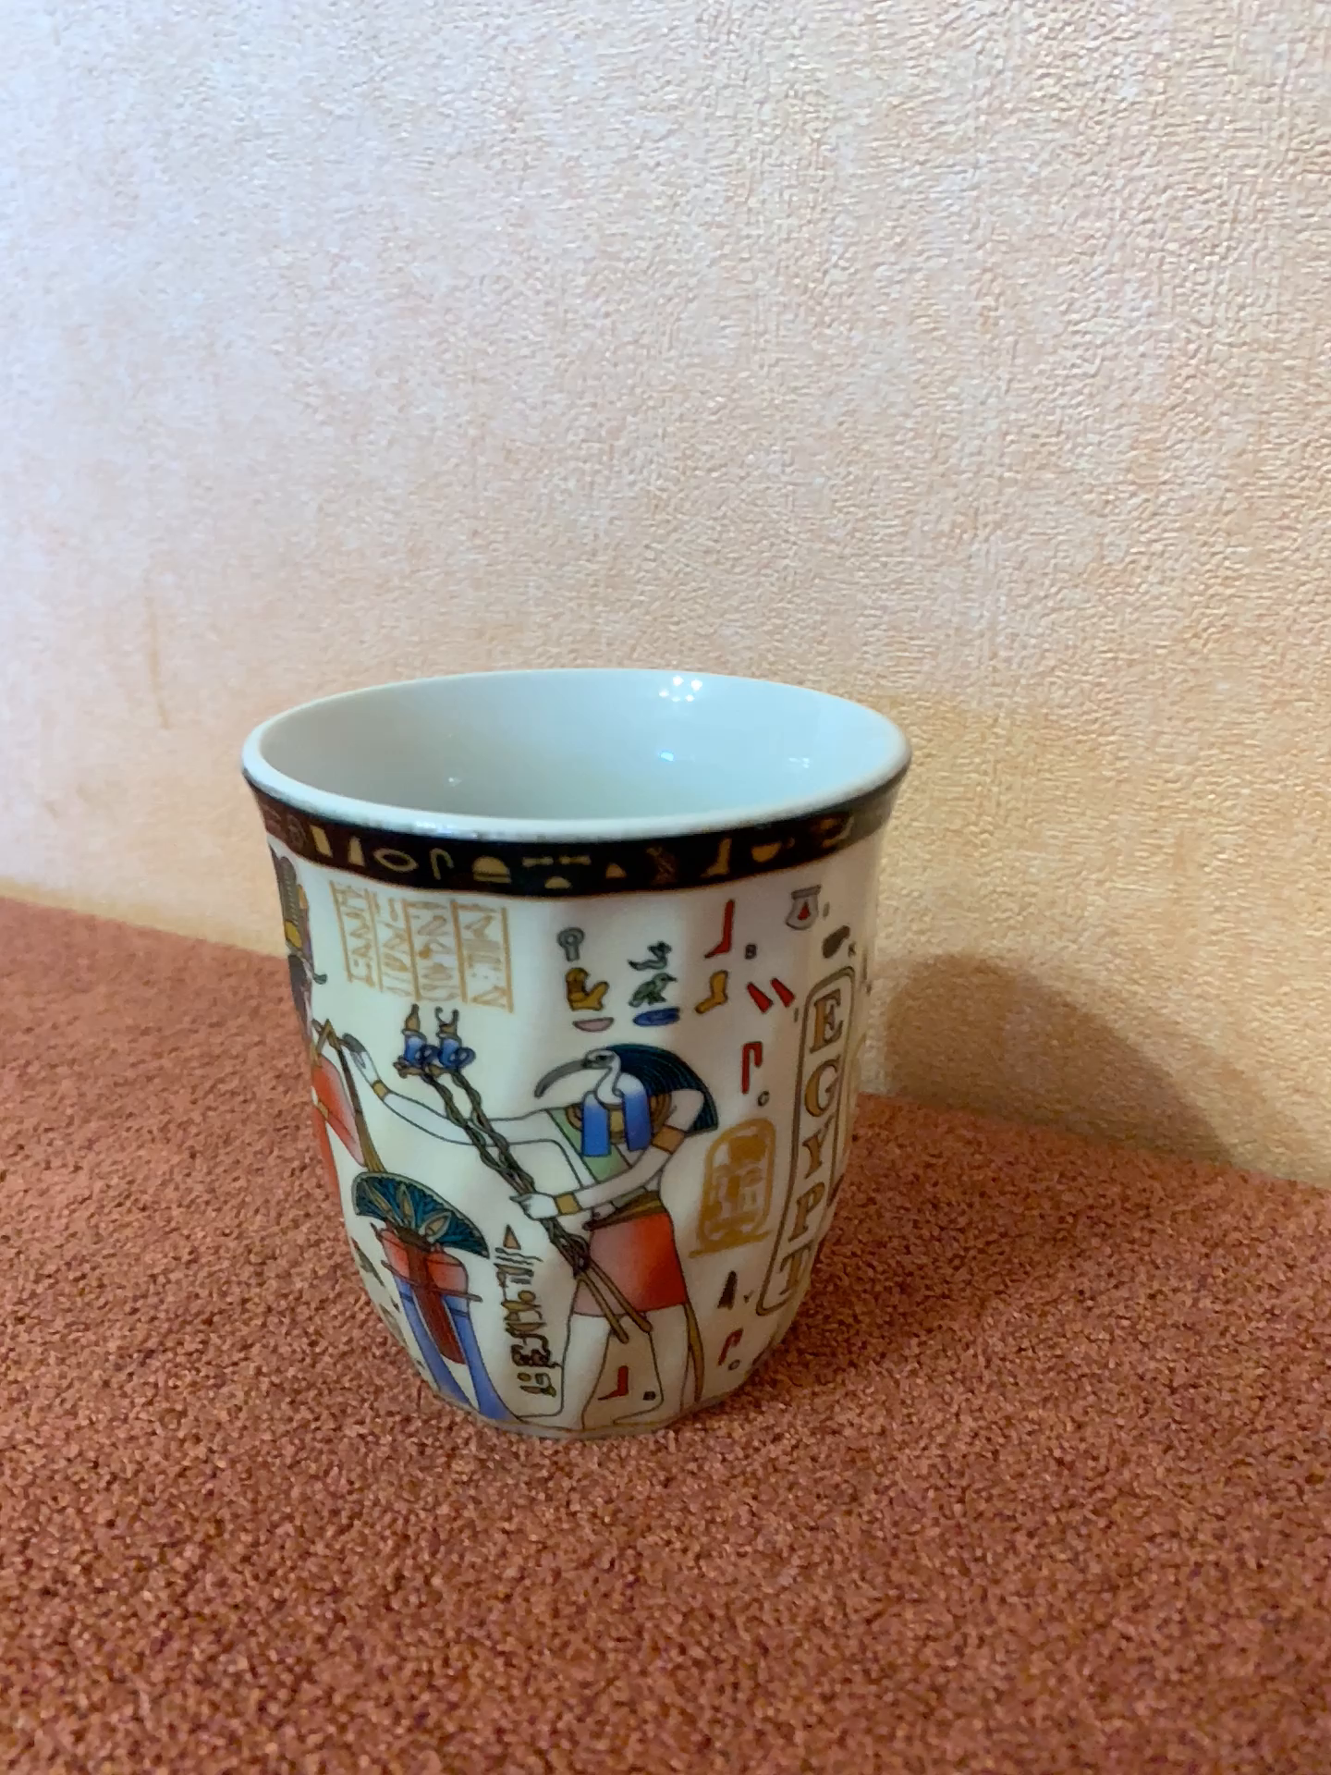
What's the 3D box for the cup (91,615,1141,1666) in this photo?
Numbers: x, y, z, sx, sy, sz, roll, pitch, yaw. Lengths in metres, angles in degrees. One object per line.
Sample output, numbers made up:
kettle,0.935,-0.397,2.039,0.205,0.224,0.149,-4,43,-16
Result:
cup,-0.011,0.017,0.201,0.086,0.087,0.116,-19,27,-39
